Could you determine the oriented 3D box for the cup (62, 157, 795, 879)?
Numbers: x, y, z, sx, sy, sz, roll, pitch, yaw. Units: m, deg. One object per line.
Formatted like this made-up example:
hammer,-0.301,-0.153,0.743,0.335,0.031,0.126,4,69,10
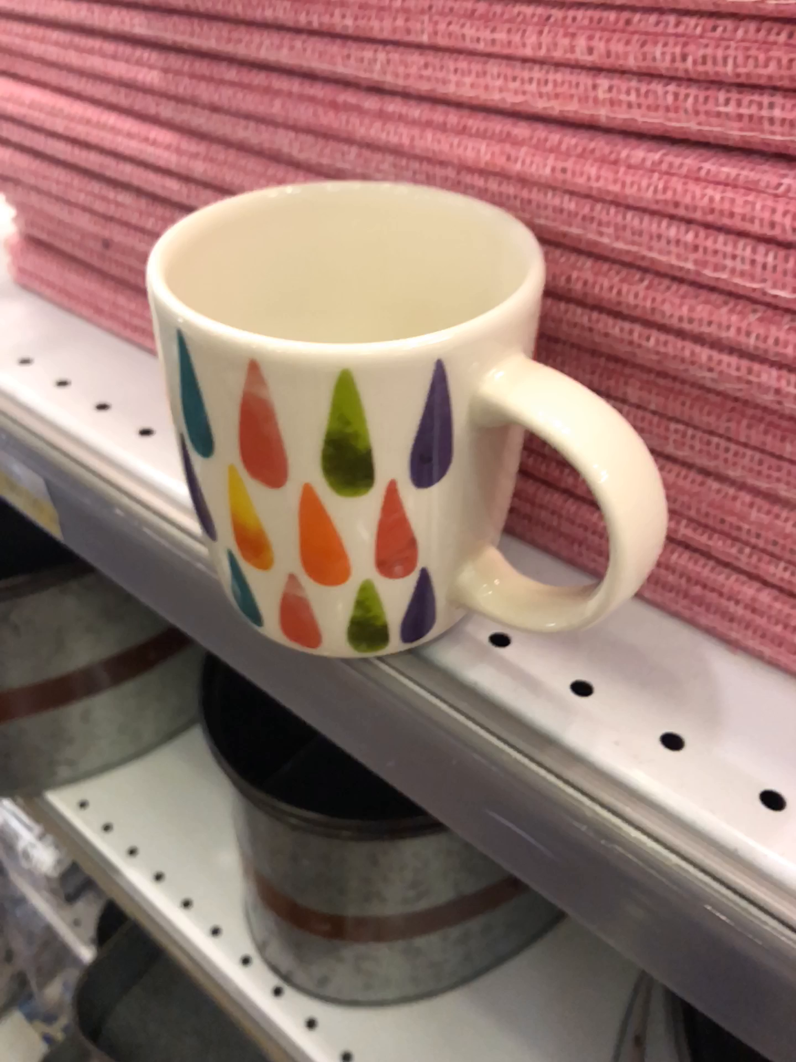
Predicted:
cup,0.010,-0.015,0.208,0.130,0.089,0.090,28,47,29
